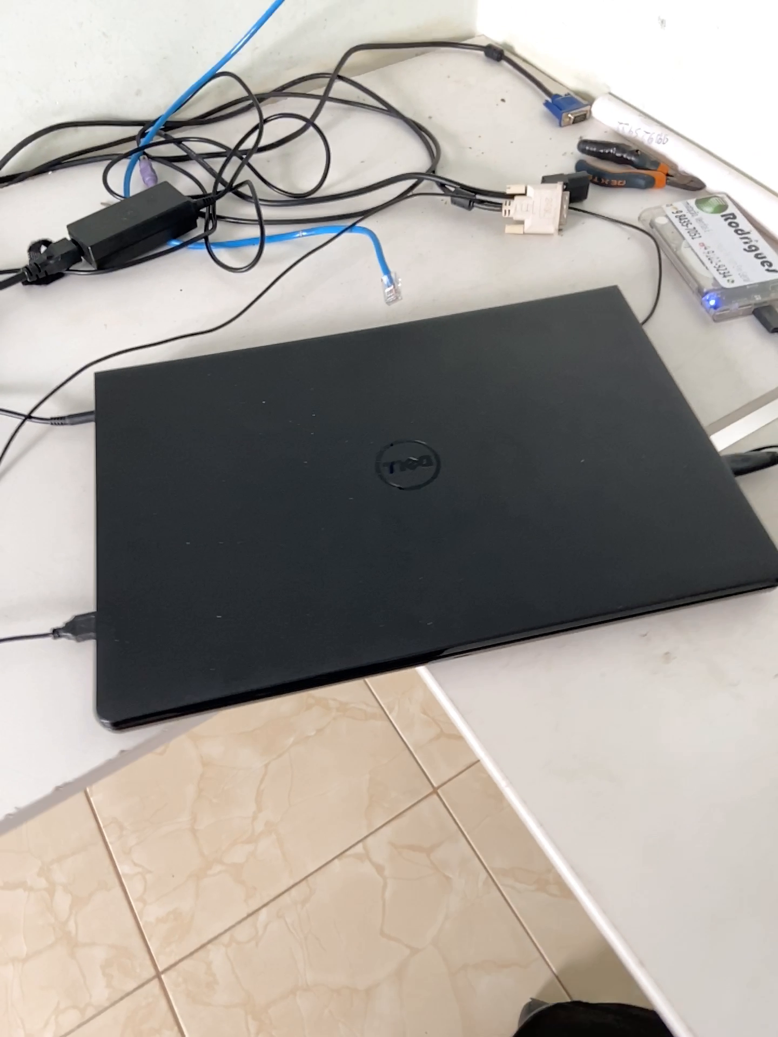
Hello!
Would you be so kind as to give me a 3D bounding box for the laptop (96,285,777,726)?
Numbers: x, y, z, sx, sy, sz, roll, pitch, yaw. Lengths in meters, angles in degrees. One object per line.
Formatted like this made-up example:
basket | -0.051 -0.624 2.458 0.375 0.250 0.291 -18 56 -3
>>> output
laptop | 0.011 -0.036 0.496 0.376 0.003 0.261 -11 53 -7
